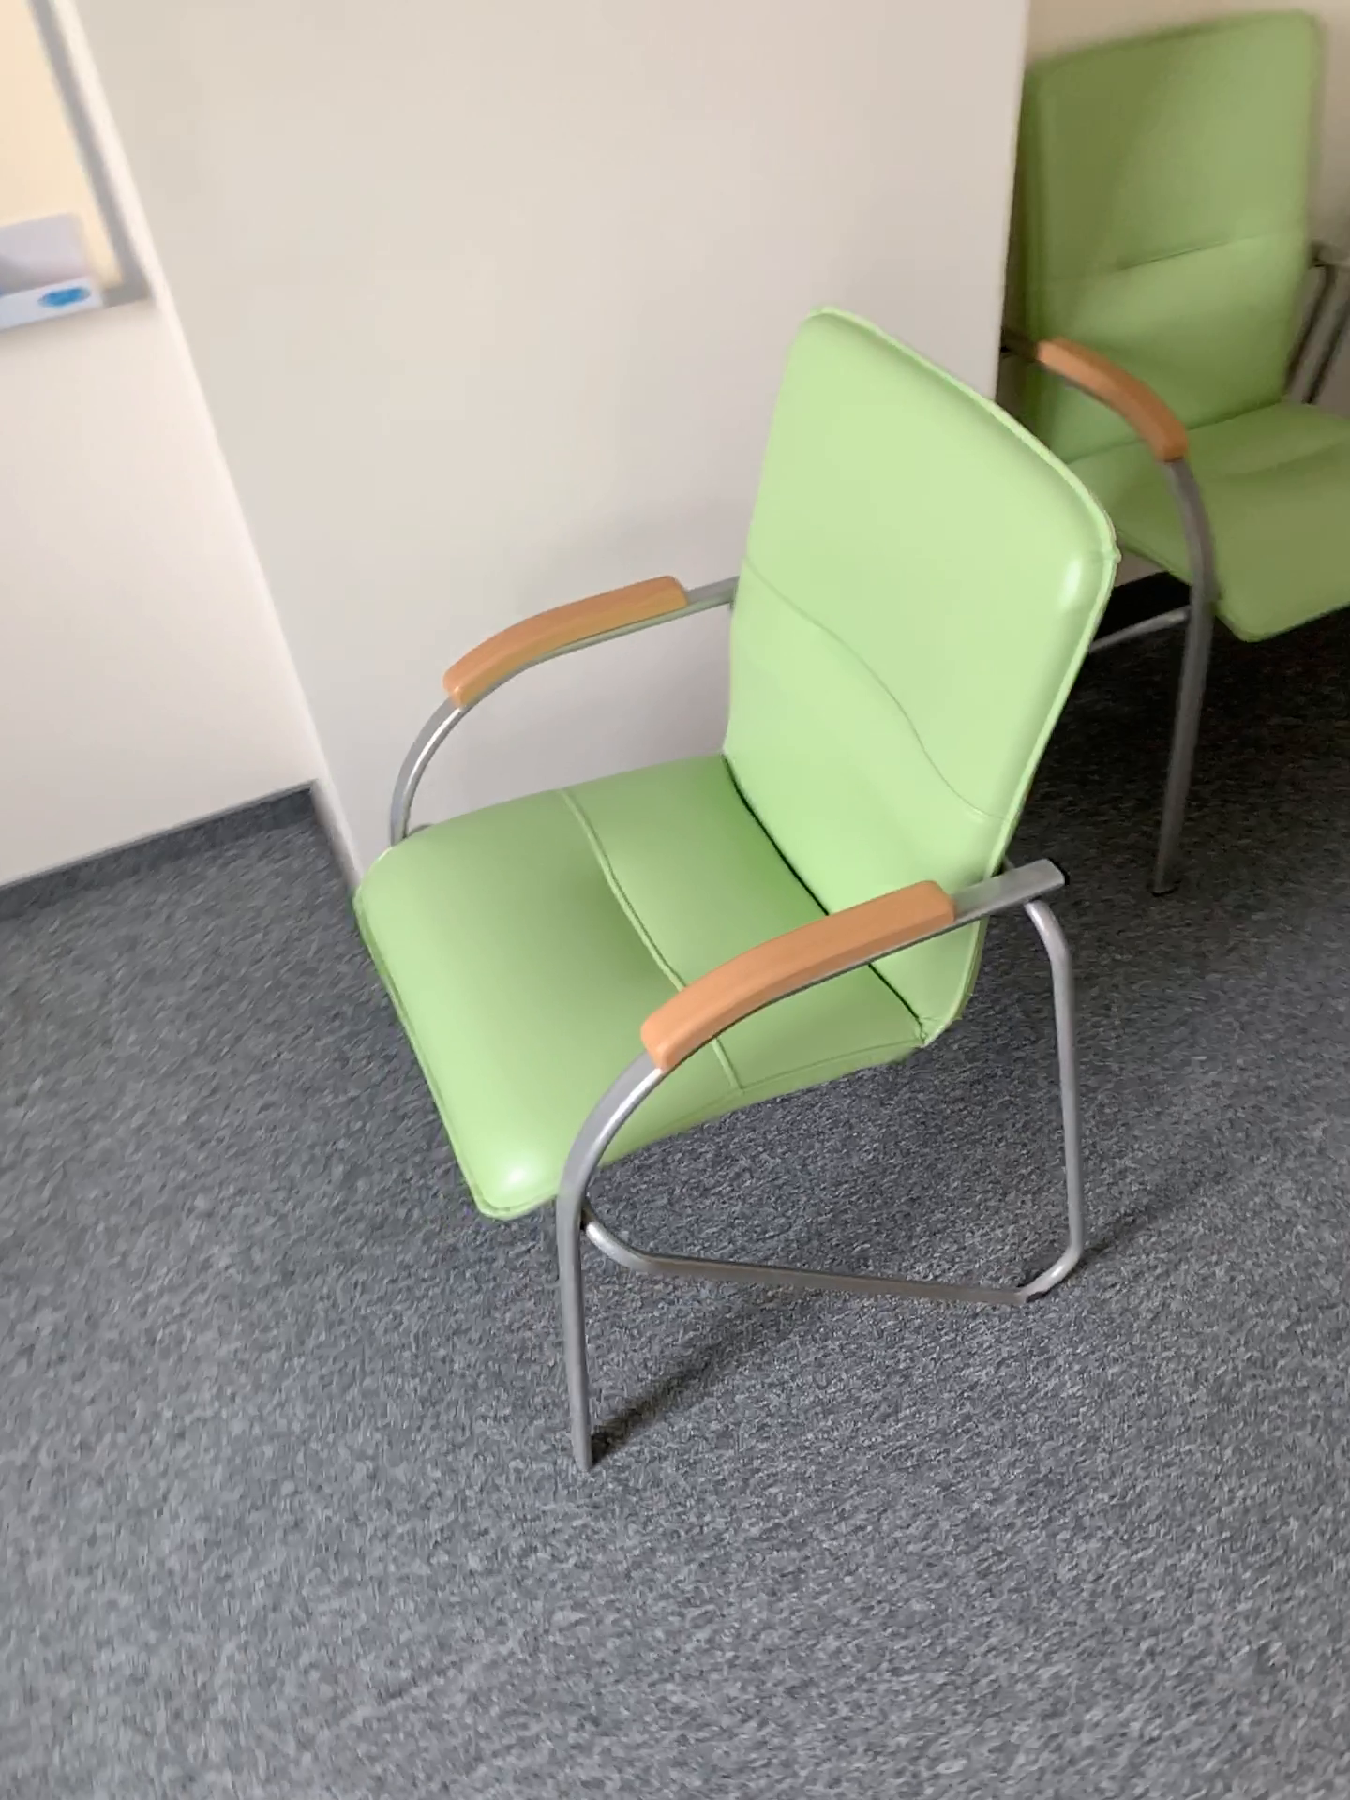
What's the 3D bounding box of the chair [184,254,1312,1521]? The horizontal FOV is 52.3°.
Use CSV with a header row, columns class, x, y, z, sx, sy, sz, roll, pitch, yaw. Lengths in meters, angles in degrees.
class,x,y,z,sx,sy,sz,roll,pitch,yaw
chair,0.030,0.000,1.316,0.620,0.876,0.622,-20,46,-14
